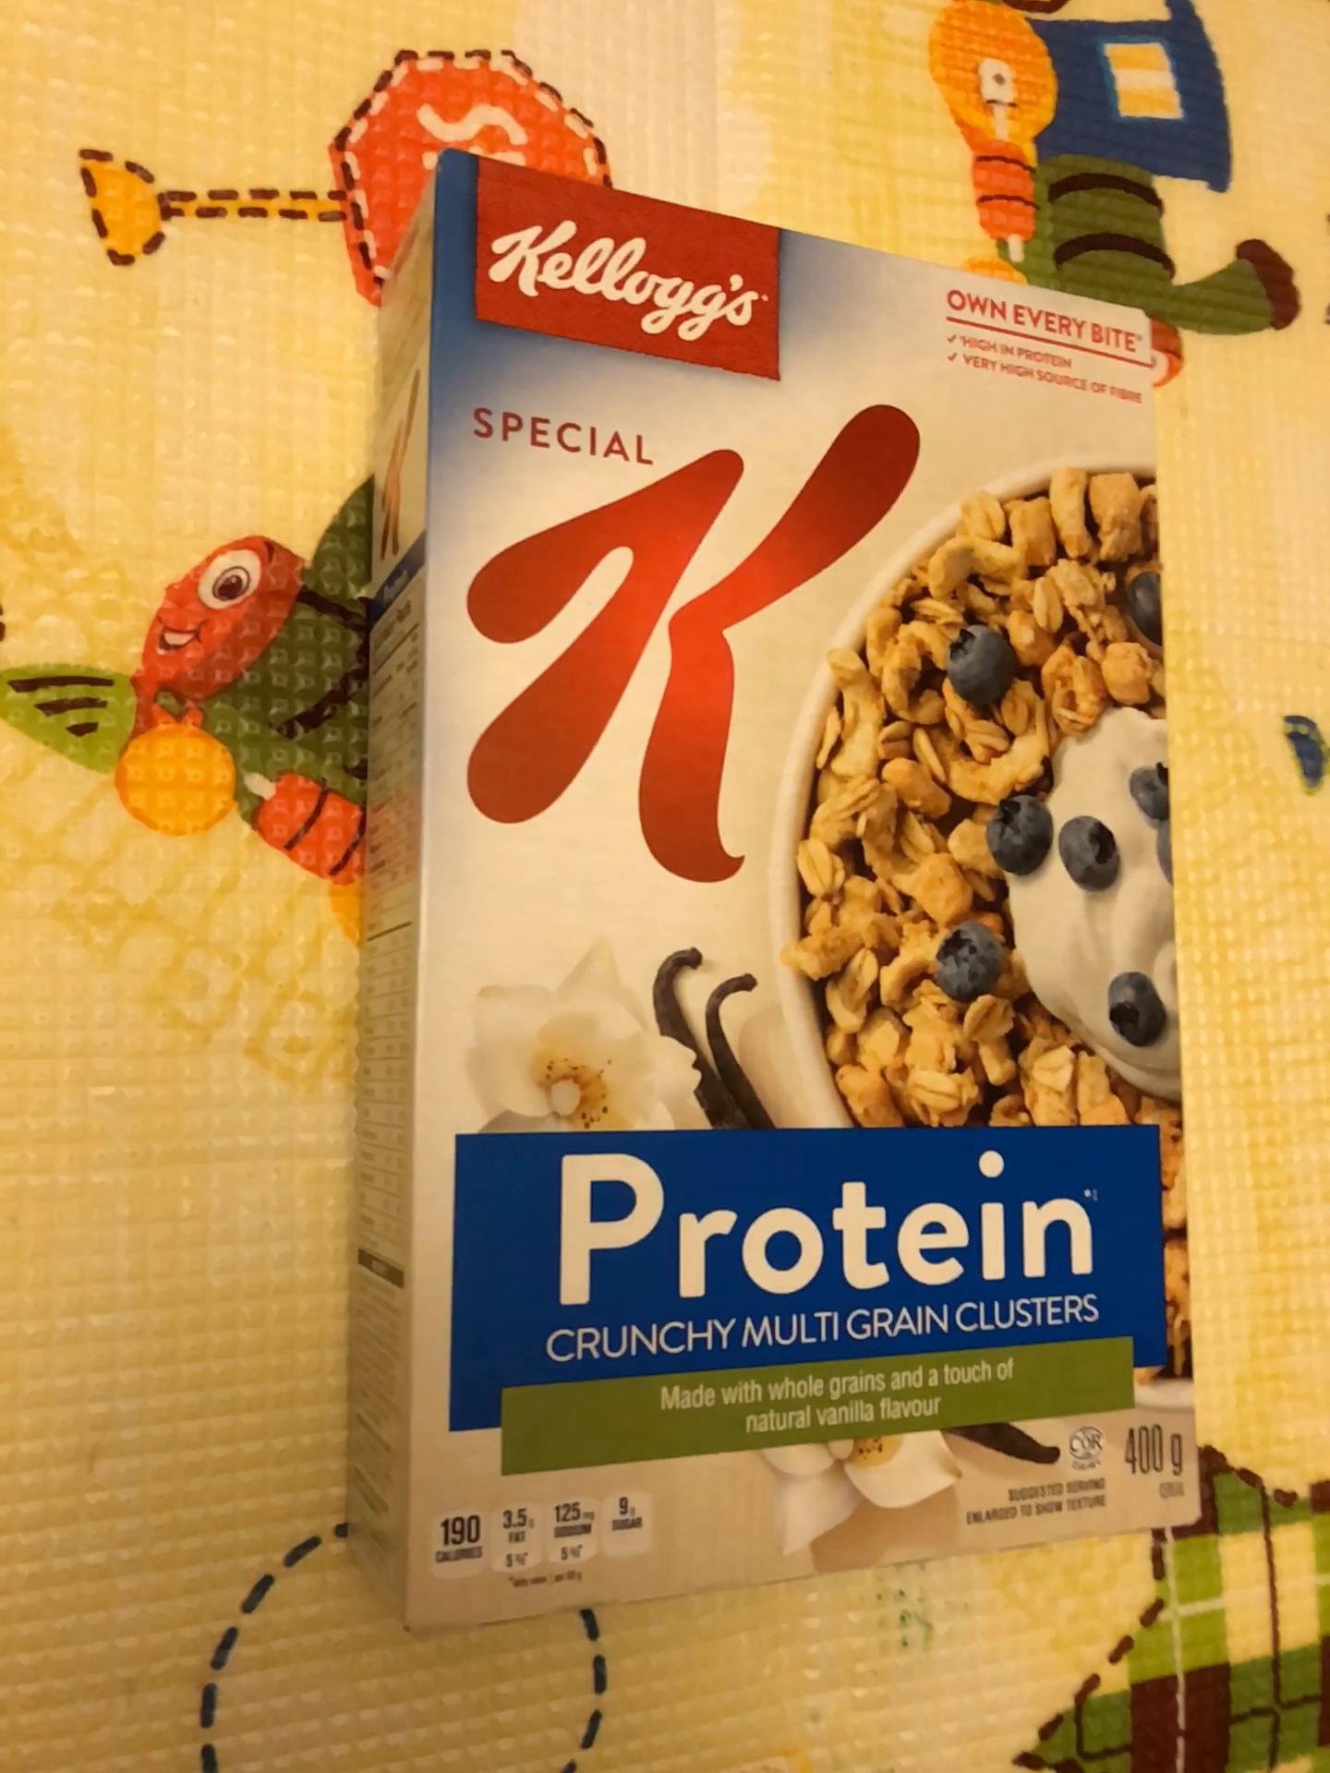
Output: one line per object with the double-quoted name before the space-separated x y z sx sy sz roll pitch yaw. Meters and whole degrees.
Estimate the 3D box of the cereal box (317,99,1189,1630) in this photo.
"cereal box" 0.022 -0.003 0.298 0.160 0.060 0.250 4 84 -24
